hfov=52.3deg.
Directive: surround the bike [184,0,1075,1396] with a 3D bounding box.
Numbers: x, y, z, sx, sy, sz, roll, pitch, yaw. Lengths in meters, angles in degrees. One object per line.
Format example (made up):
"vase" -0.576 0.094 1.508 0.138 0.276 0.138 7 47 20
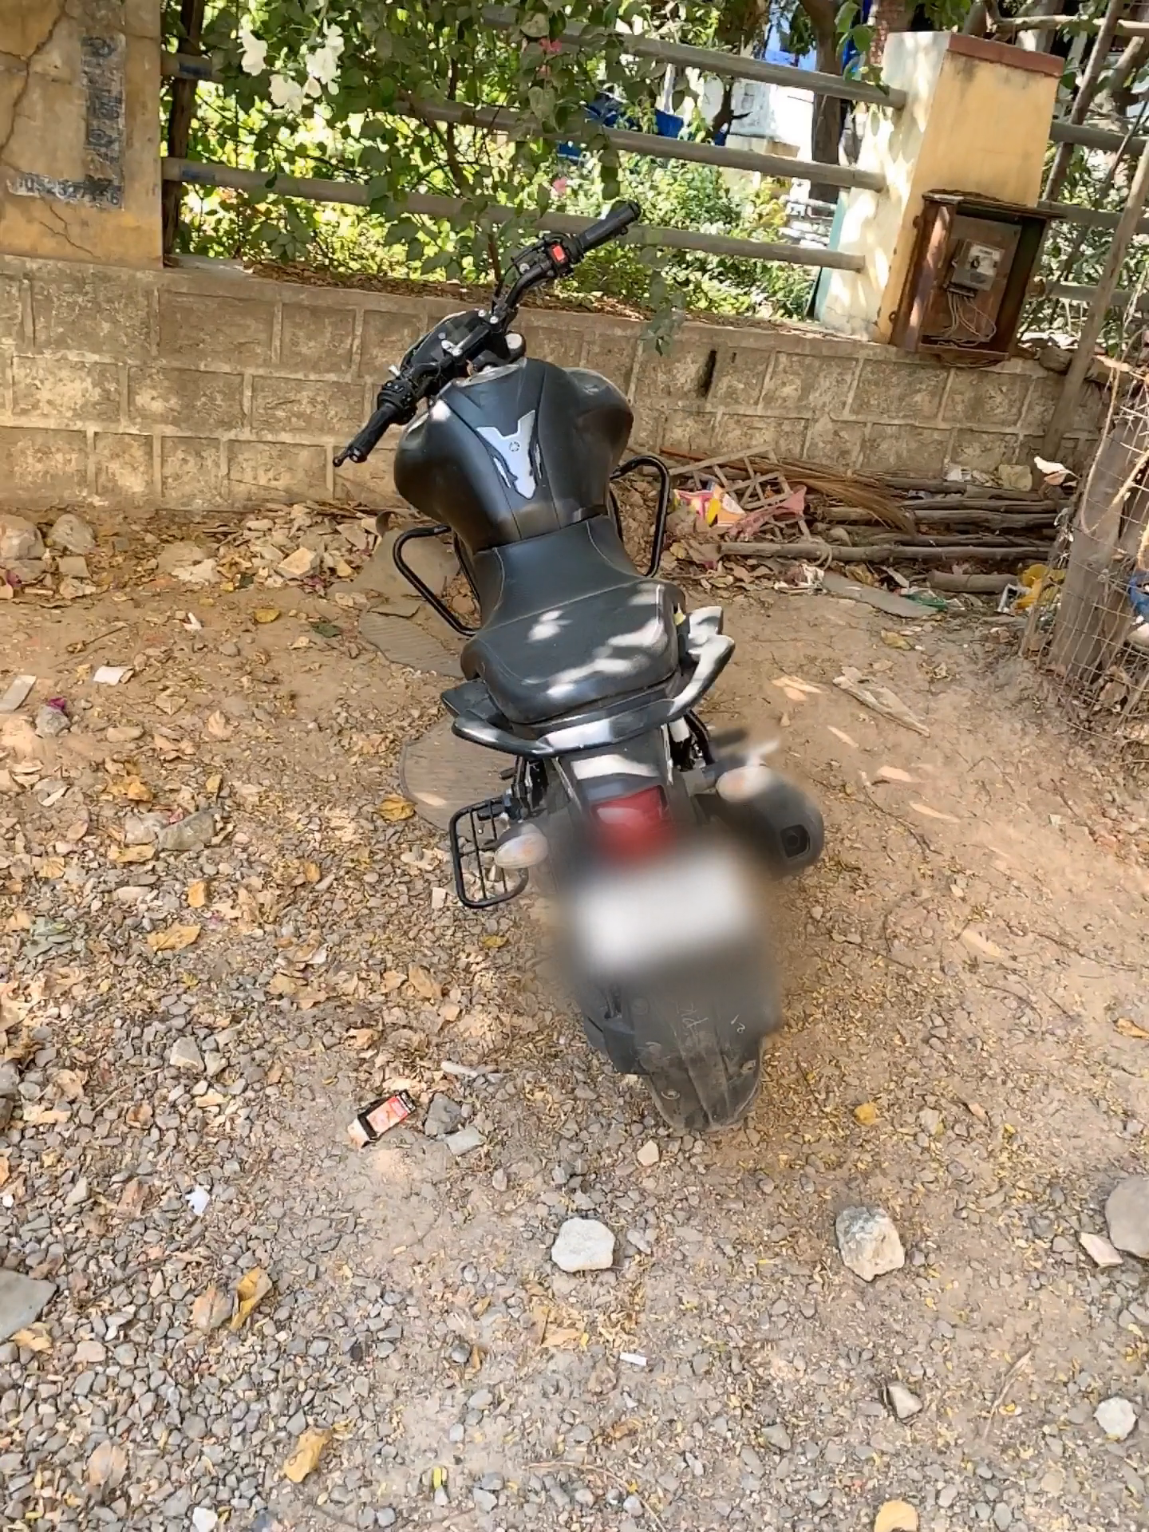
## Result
"bike" -0.243 -0.317 2.052 0.819 1.498 1.763 0 33 -18
